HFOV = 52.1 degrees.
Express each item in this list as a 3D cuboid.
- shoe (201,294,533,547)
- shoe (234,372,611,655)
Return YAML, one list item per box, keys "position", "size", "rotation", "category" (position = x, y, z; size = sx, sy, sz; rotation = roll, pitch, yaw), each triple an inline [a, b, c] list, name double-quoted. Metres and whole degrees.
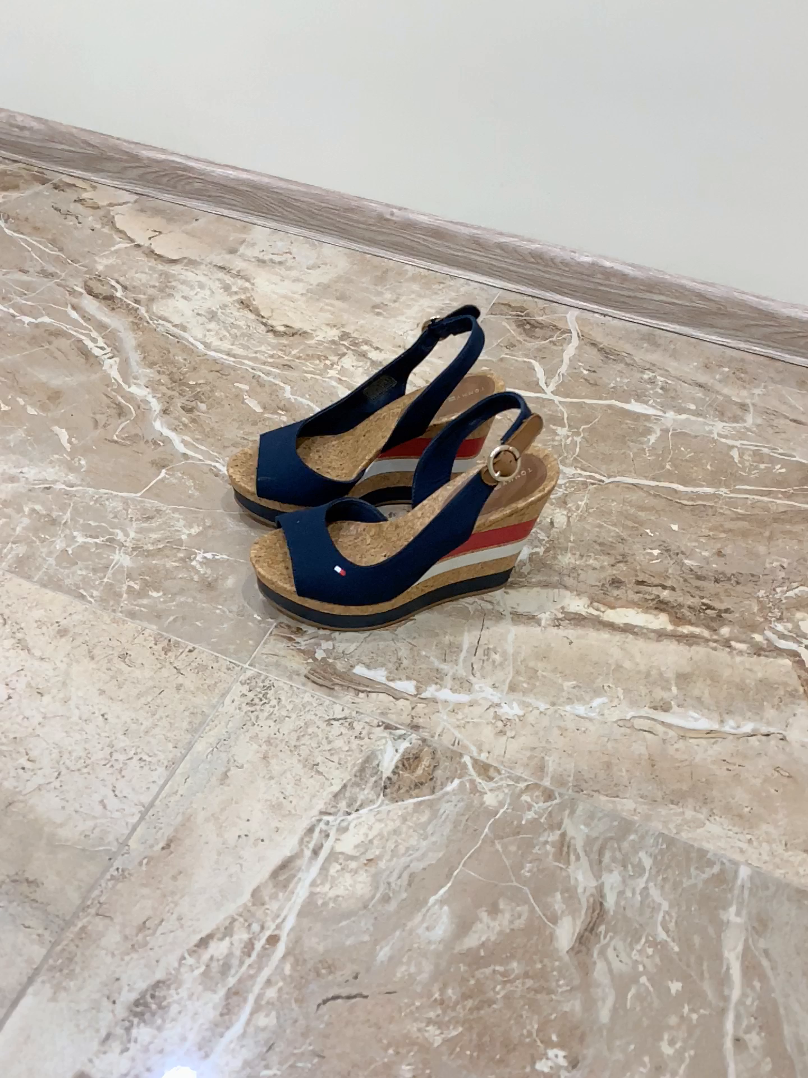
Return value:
- position: [-0.033, -0.086, 0.605]
  size: [0.210, 0.145, 0.090]
  rotation: [-5, 46, -11]
  category: "shoe"
- position: [0.003, -0.017, 0.542]
  size: [0.210, 0.145, 0.090]
  rotation: [-5, 46, -11]
  category: "shoe"
